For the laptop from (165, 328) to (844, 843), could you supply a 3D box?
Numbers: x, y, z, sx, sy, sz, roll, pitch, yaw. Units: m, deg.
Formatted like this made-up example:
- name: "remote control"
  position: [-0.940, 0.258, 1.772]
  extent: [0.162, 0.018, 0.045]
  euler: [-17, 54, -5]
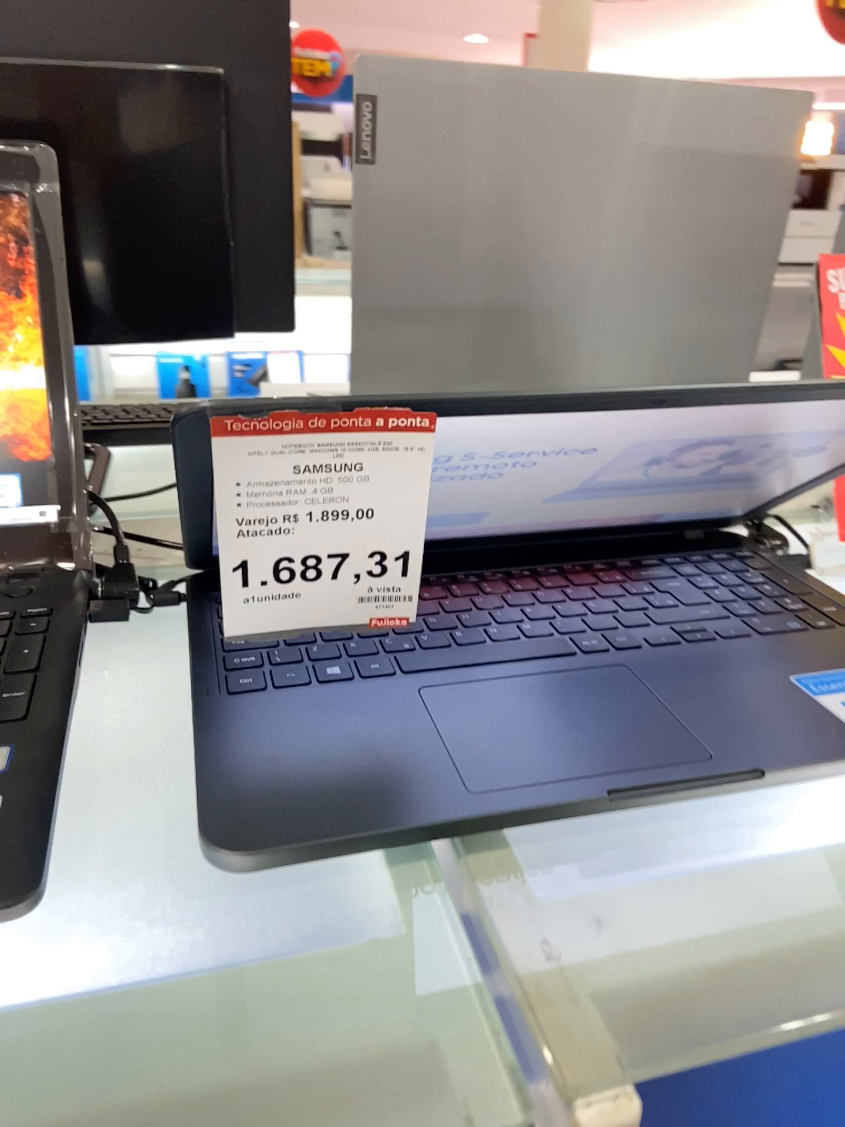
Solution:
- name: "laptop"
  position: [0.072, -0.028, 0.427]
  extent: [0.367, 0.140, 0.236]
  euler: [-4, 23, -16]

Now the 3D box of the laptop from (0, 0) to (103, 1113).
- name: "laptop"
  position: [-0.368, -0.062, 0.346]
  extent: [0.394, 0.223, 0.372]
  euler: [-4, 23, -18]

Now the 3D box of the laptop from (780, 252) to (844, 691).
- name: "laptop"
  position: [0.464, -0.095, 0.561]
  extent: [0.315, 0.177, 0.297]
  euler: [-5, 24, -15]
